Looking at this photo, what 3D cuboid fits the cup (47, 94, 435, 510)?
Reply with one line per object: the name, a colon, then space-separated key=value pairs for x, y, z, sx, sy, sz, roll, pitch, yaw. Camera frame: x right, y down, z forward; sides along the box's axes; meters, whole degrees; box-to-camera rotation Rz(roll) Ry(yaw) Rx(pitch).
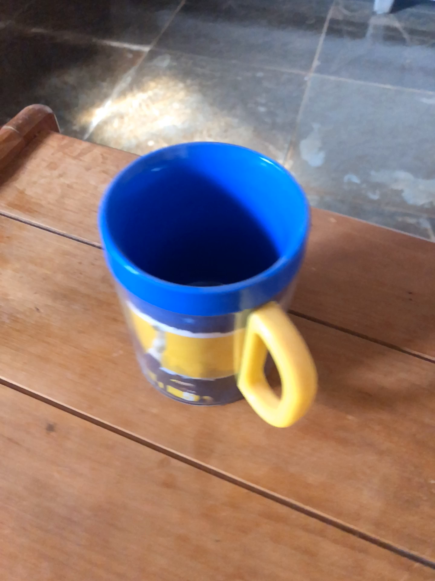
cup: x=0.005 y=0.005 z=0.217 sx=0.090 sy=0.109 sz=0.120 roll=-28 pitch=59 yaw=-19
